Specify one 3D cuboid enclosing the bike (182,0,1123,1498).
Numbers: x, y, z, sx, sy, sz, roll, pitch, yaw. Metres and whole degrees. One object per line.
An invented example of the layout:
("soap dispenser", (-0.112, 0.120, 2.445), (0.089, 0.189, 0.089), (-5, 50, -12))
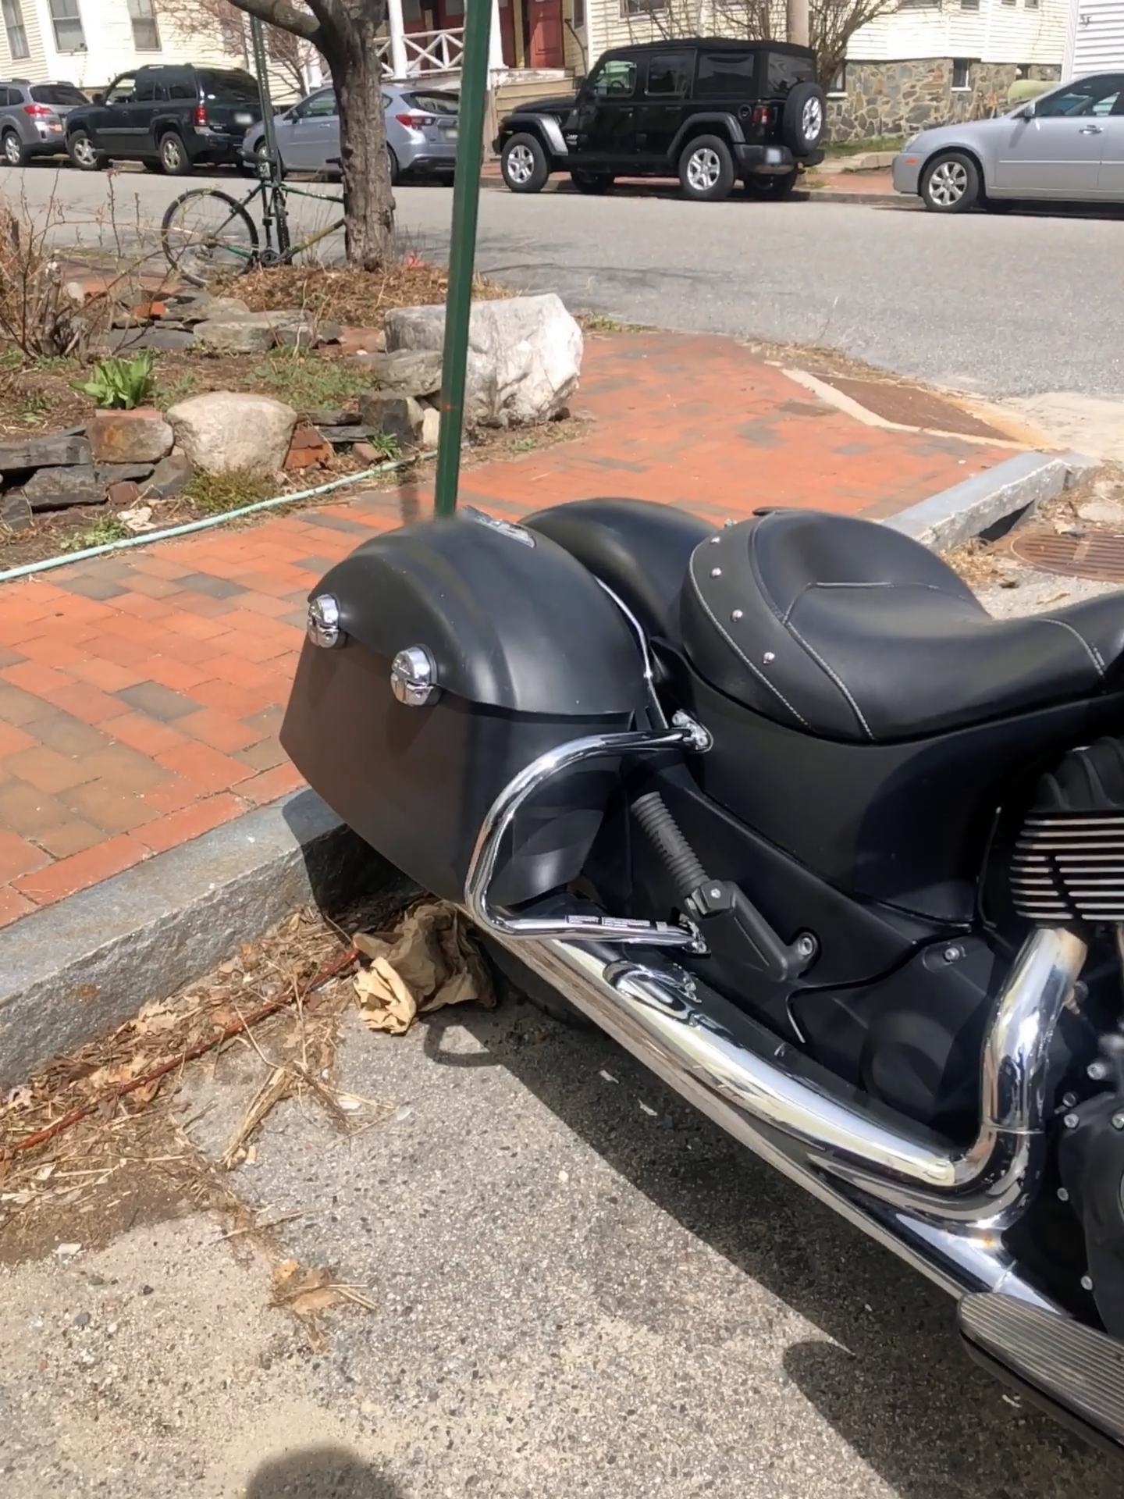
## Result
("bike", (0.620, 0.127, 0.946), (0.783, 1.238, 2.131), (-22, 31, -34))
